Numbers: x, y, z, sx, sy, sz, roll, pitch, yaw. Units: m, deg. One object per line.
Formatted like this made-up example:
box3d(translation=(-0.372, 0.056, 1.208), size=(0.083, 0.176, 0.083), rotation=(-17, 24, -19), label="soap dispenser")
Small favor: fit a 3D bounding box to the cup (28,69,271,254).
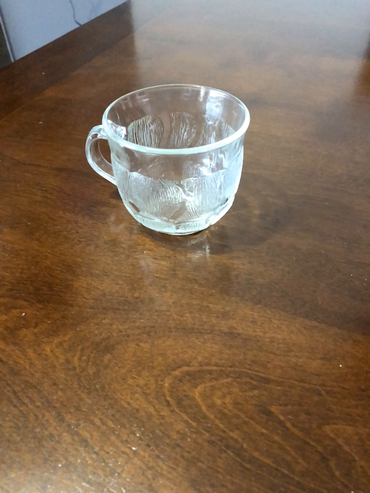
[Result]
box3d(translation=(-0.014, -0.053, 0.230), size=(0.100, 0.050, 0.080), rotation=(15, 46, 17), label="cup")
